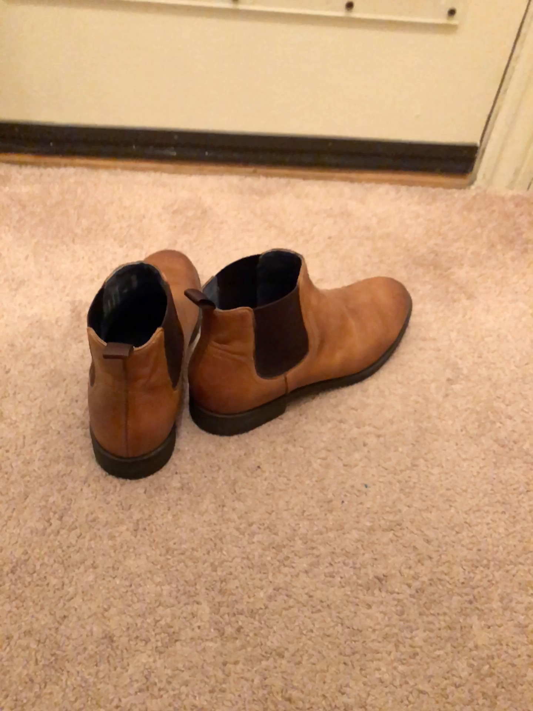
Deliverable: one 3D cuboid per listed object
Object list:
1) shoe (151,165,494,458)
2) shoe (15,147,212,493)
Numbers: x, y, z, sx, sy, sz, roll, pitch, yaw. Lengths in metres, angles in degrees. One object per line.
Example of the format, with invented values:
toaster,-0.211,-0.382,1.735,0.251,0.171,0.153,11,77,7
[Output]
shoe,0.056,-0.055,0.588,0.313,0.165,0.109,-25,53,-27
shoe,-0.122,-0.050,0.578,0.109,0.165,0.314,4,45,-2
